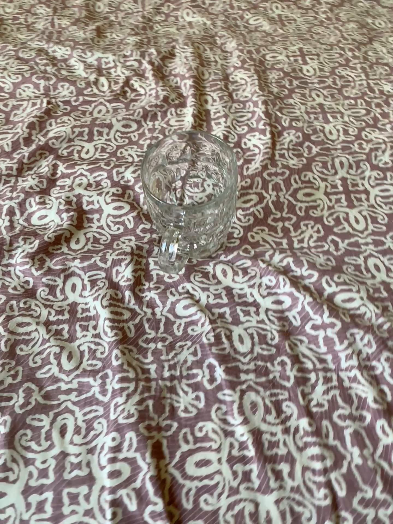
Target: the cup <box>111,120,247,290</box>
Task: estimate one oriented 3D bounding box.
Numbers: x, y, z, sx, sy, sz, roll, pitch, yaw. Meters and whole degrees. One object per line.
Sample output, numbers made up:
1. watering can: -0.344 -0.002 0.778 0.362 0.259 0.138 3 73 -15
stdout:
1. cup: -0.009 -0.054 0.395 0.093 0.099 0.118 10 62 9
